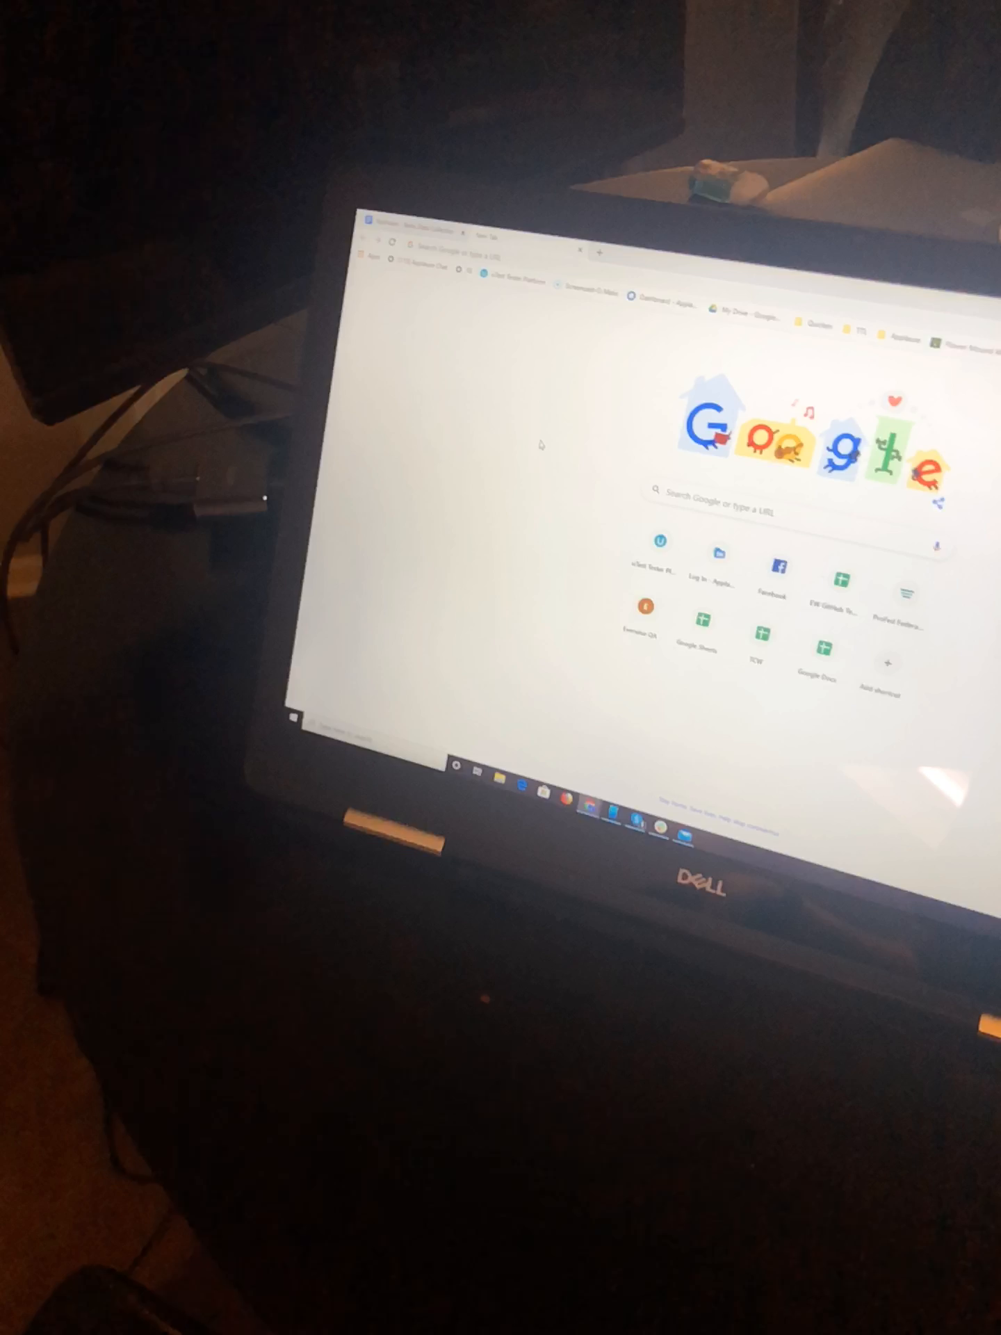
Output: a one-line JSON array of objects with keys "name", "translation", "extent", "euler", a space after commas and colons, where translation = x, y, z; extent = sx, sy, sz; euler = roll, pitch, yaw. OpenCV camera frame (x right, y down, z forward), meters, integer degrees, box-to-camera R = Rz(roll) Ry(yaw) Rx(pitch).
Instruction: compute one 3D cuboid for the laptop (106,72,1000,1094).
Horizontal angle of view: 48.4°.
[{"name": "laptop", "translation": [0.125, -0.067, 0.465], "extent": [0.419, 0.232, 0.268], "euler": [15, 47, 18]}]
